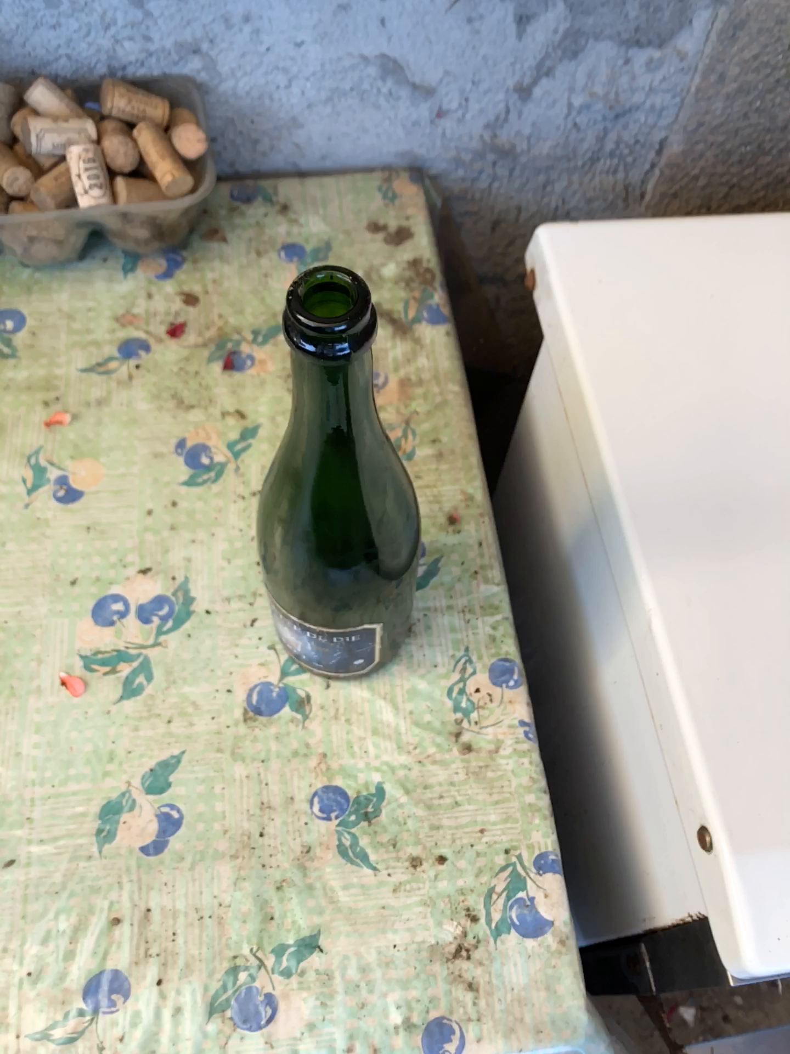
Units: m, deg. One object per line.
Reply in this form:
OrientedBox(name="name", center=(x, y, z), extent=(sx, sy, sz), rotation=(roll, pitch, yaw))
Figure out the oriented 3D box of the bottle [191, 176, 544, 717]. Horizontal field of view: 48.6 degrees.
OrientedBox(name="bottle", center=(-0.018, -0.006, 0.435), extent=(0.090, 0.309, 0.080), rotation=(42, 68, 17))
